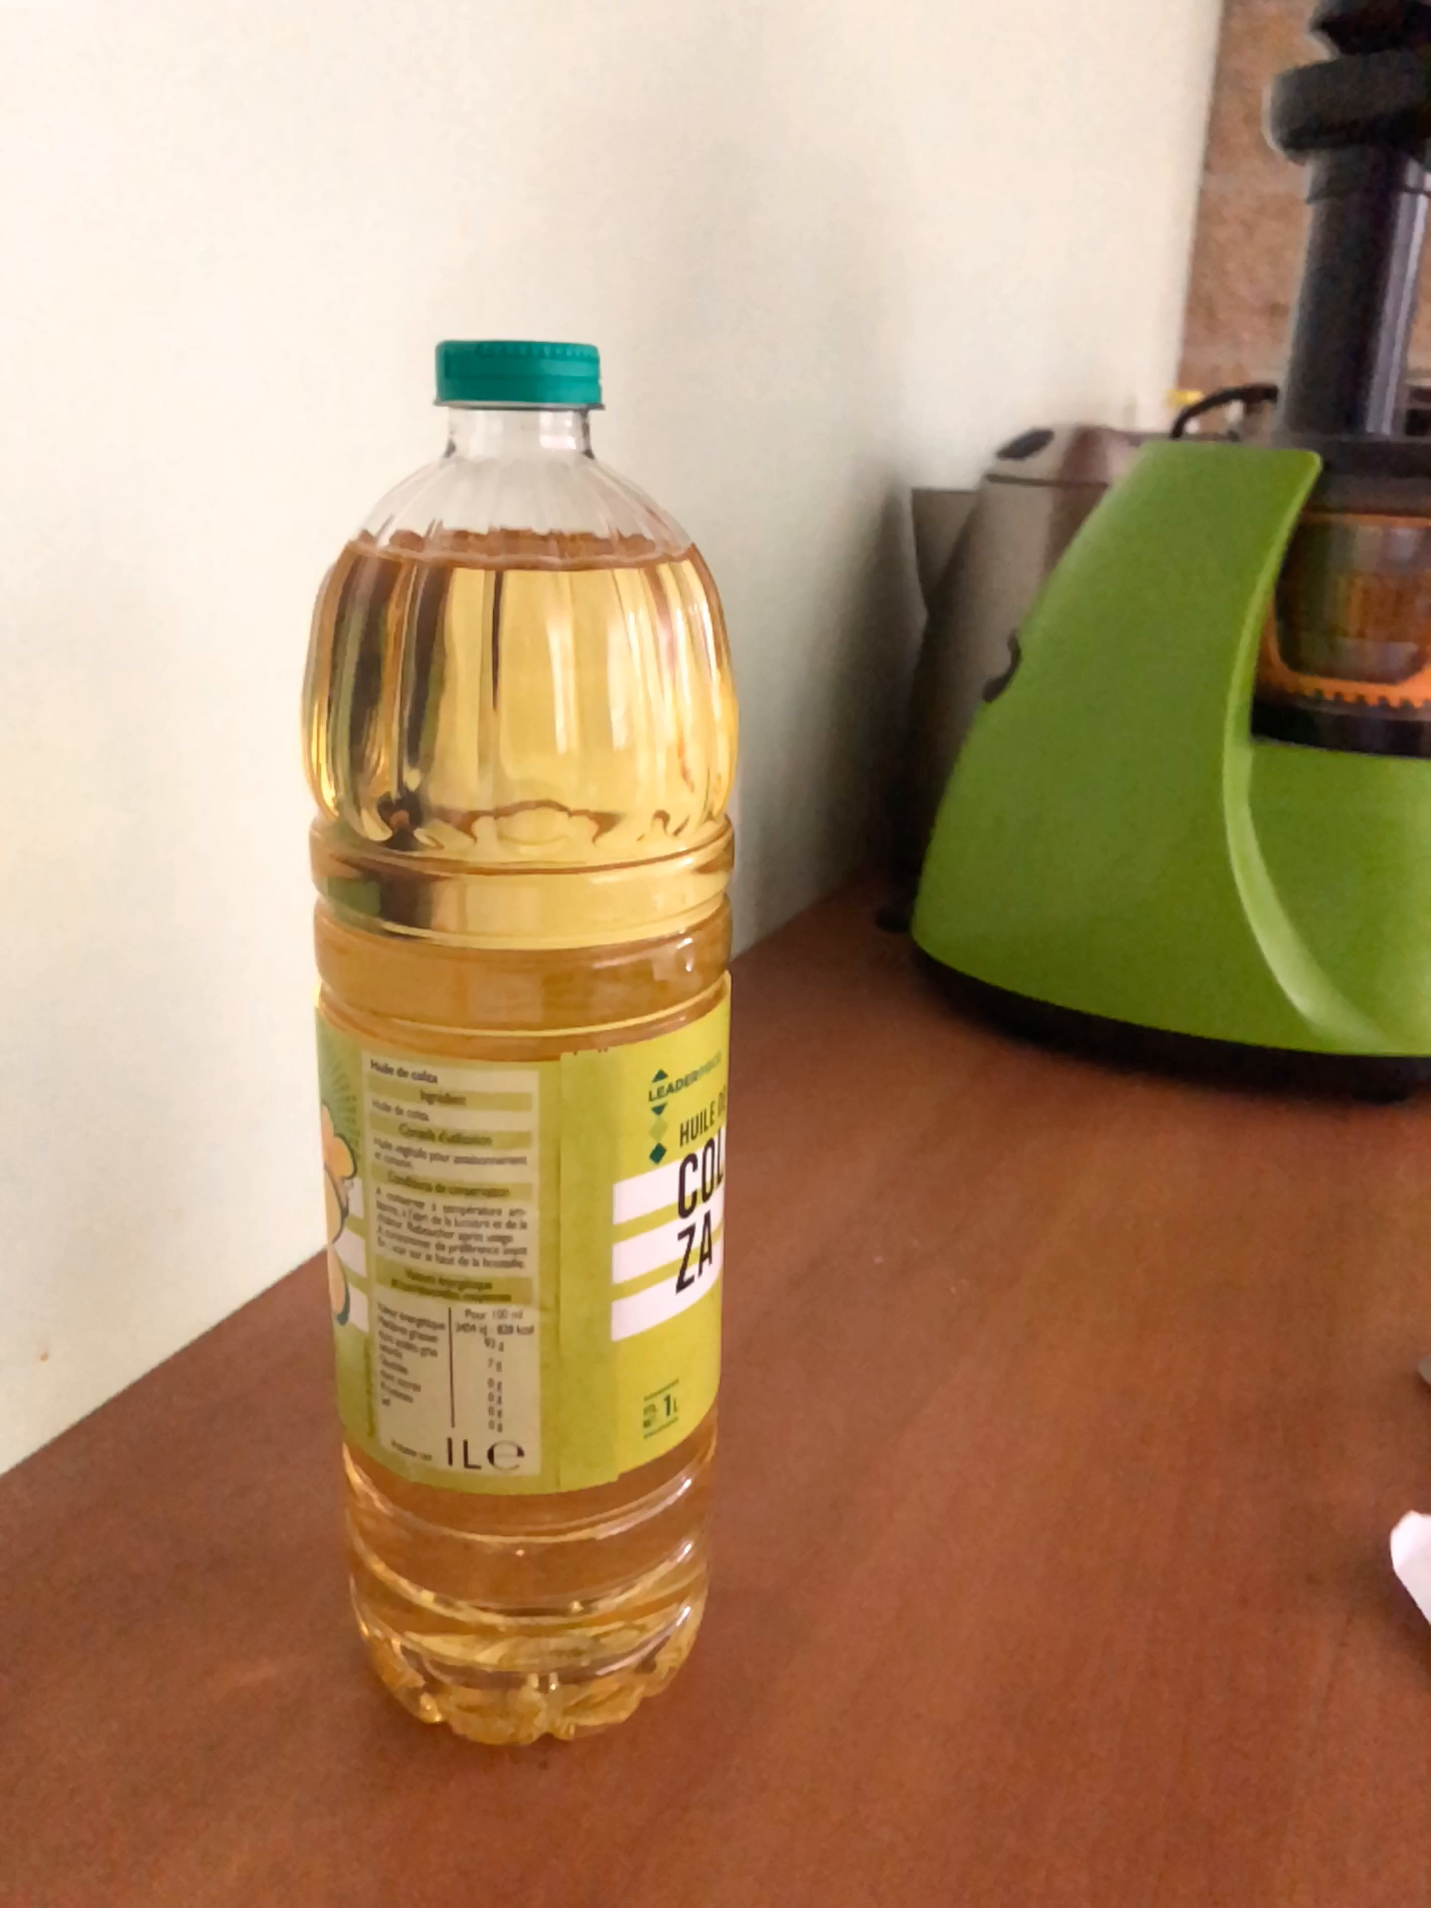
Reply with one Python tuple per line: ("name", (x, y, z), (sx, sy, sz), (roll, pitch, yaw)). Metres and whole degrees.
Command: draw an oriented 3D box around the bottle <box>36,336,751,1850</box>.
("bottle", (-0.052, 0.026, 0.312), (0.090, 0.269, 0.090), (2, 19, -1))
